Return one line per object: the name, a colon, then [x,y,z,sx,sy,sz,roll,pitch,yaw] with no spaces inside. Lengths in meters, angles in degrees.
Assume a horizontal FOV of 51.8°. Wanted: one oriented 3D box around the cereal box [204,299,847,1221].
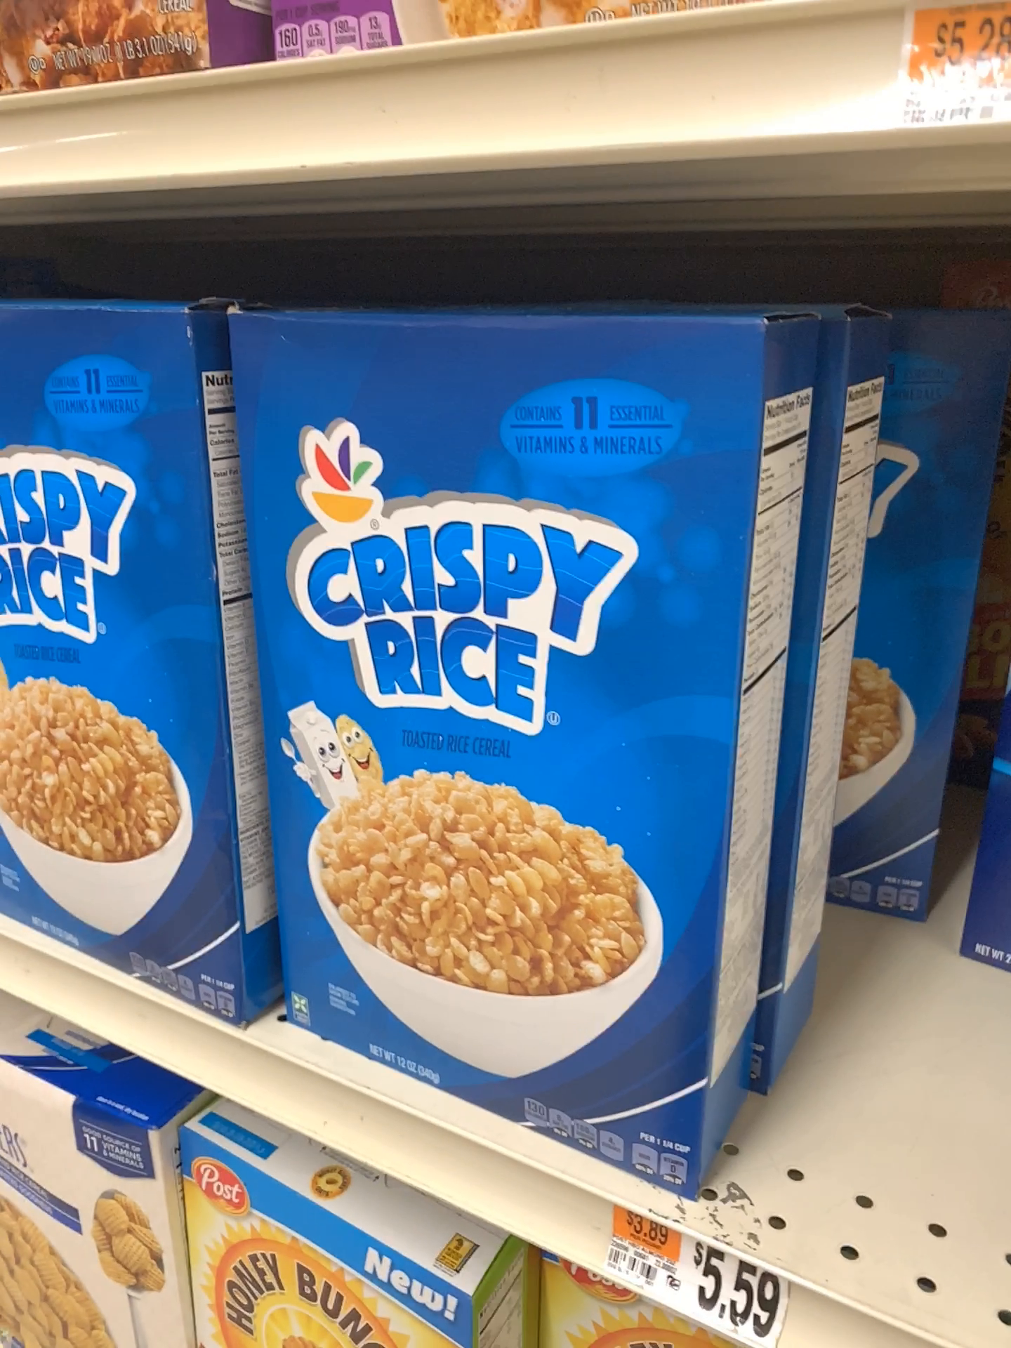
cereal box: [0.001,0.024,0.408,0.210,0.318,0.070,11,23,28]
